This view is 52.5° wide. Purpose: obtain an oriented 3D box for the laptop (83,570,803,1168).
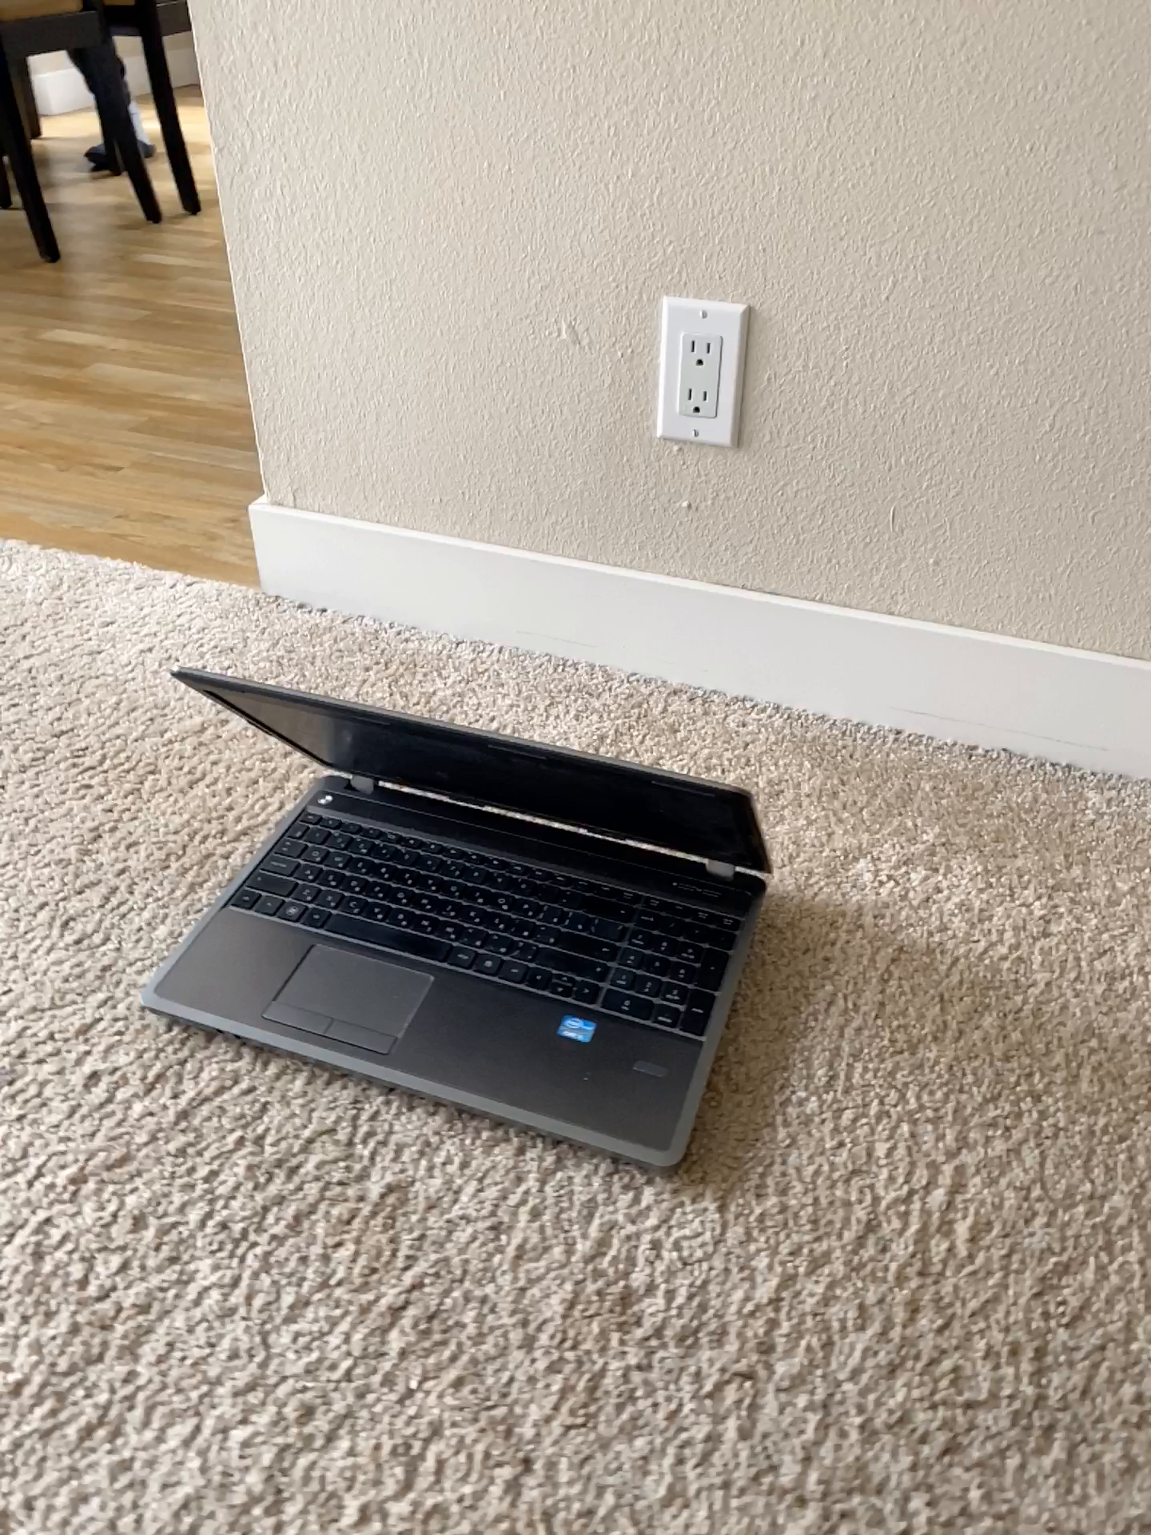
[{"bbox_3d":[-0.069,0.045,0.768,0.370,0.189,0.250,12,40,15],"label":"laptop"}]
